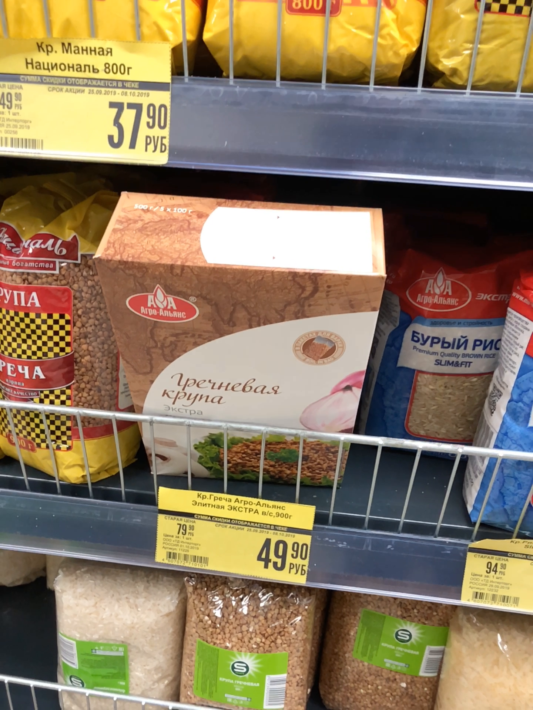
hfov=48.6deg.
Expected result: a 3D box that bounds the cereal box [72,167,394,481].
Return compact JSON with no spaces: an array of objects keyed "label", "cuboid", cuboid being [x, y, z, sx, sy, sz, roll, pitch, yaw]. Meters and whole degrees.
[{"label":"cereal box","cuboid":[-0.014,-0.004,0.346,0.140,0.199,0.050,4,49,3]}]
